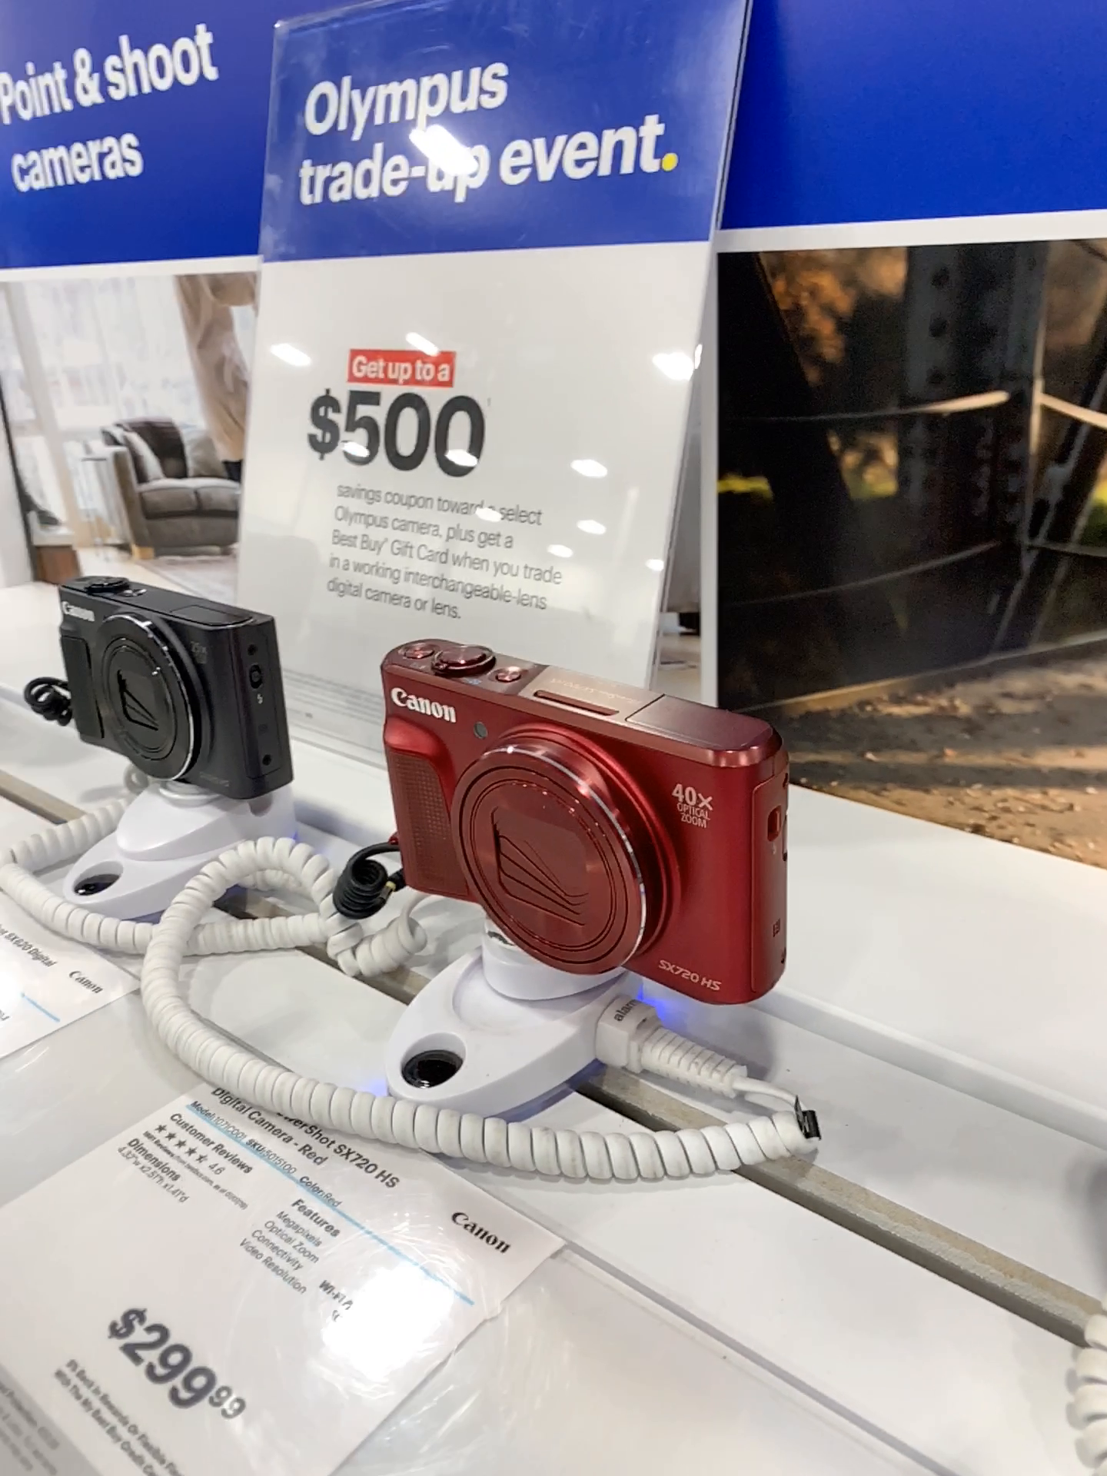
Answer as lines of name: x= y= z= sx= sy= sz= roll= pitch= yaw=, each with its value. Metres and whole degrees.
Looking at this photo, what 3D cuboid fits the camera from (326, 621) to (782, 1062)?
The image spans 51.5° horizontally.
camera: x=-0.002 y=0.019 z=0.271 sx=0.110 sy=0.070 sz=0.030 roll=17 pitch=32 yaw=39
